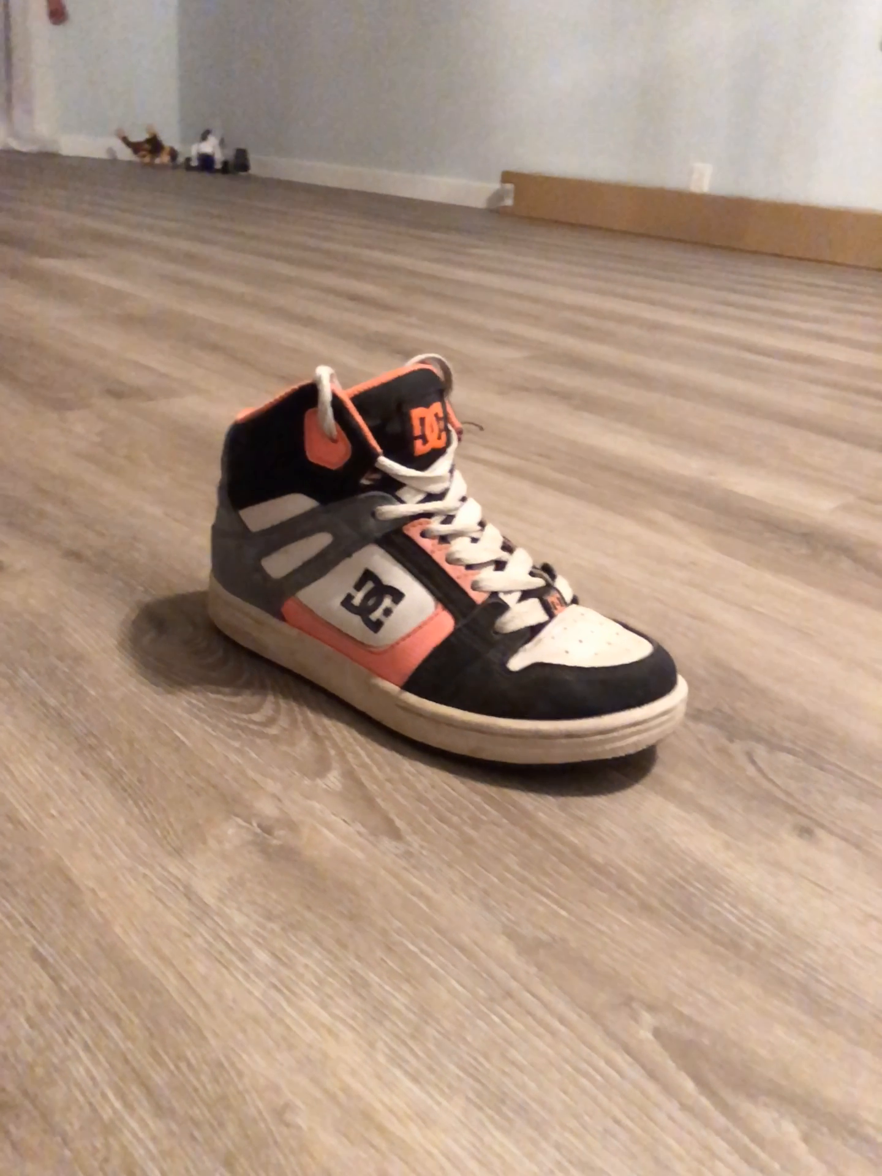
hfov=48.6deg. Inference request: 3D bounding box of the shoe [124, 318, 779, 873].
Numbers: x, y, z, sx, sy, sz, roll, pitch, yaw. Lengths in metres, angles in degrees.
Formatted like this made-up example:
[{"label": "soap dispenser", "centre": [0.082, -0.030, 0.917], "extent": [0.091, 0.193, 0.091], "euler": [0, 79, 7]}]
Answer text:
[{"label": "shoe", "centre": [-0.011, -0.016, 0.397], "extent": [0.240, 0.139, 0.090], "euler": [20, 27, 30]}]
